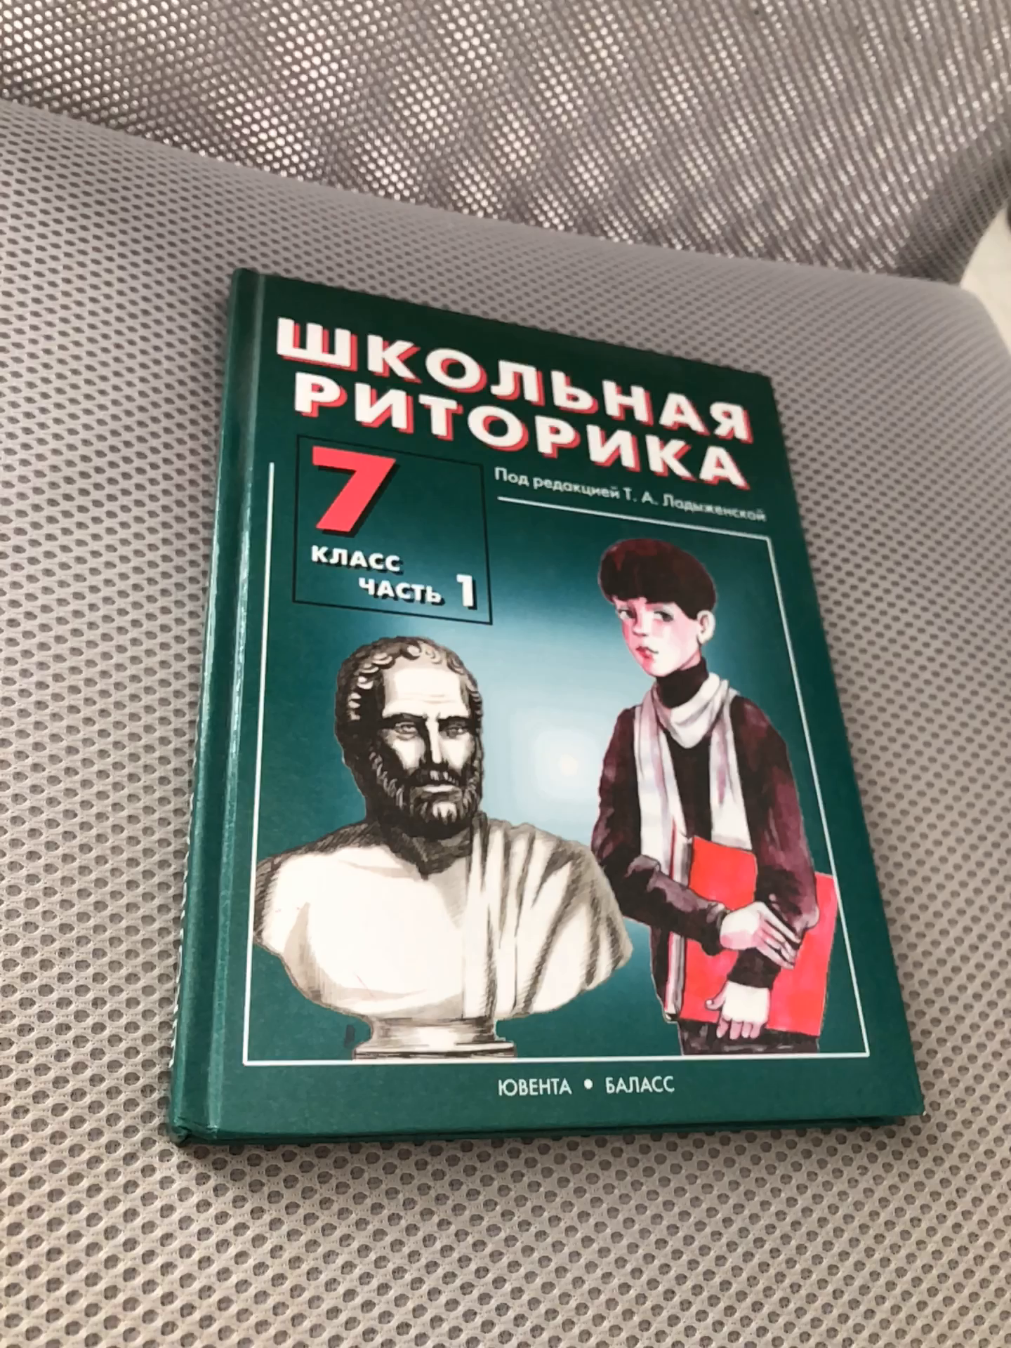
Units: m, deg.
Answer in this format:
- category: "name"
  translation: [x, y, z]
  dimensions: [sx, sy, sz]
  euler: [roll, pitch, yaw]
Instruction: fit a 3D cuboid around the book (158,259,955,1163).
- category: "book"
  translation: [0.009, 0.002, 0.281]
  dimensions: [0.167, 0.030, 0.211]
  euler: [6, 62, -19]
